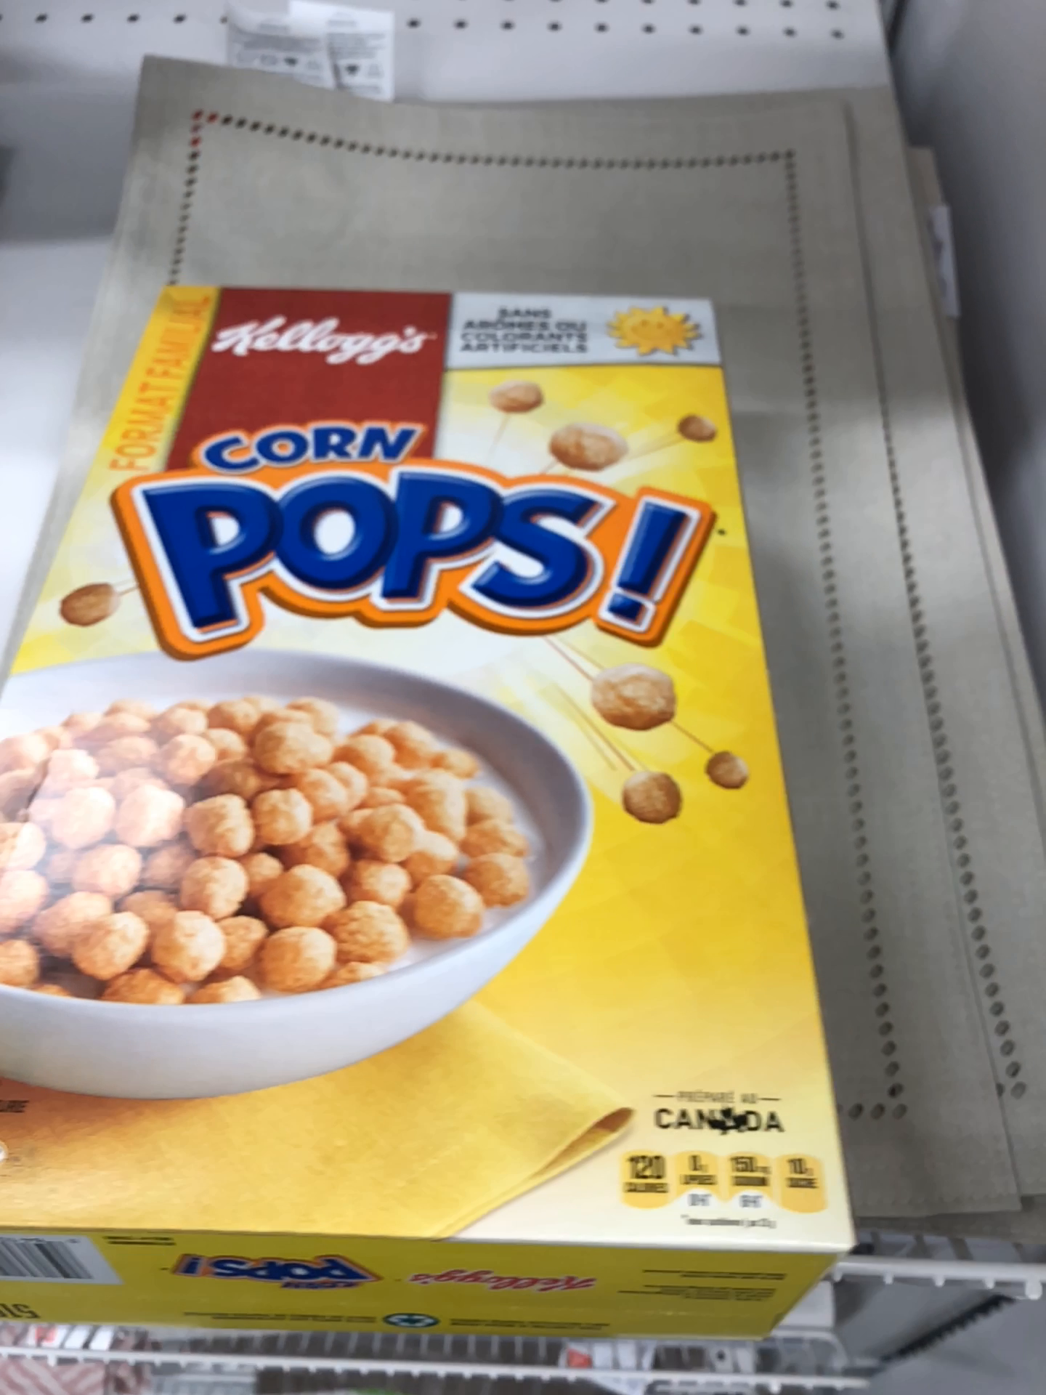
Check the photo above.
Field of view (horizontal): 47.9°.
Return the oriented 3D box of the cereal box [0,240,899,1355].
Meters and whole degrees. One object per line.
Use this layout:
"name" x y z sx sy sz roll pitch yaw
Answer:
"cereal box" -0.039 -0.002 0.360 0.220 0.080 0.341 4 51 -4
